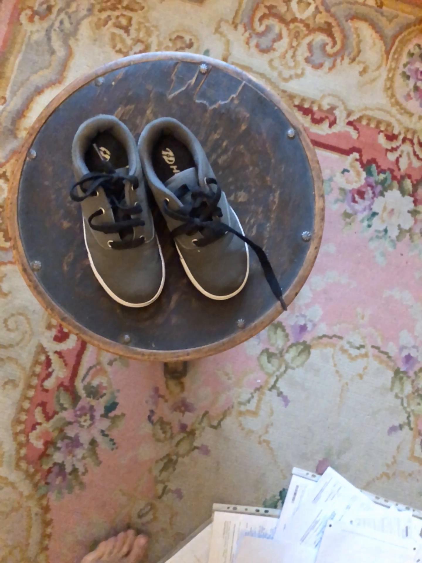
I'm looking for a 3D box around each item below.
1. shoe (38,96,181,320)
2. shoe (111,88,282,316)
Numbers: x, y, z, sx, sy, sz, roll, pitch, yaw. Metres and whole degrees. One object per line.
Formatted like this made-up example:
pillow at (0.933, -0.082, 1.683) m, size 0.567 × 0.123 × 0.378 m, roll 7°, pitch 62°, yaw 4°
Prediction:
shoe at (-0.105, -0.072, 0.513) m, size 0.090 × 0.100 × 0.211 m, roll -15°, pitch 86°, yaw -4°
shoe at (-0.018, -0.078, 0.512) m, size 0.090 × 0.100 × 0.211 m, roll -25°, pitch 86°, yaw -5°
